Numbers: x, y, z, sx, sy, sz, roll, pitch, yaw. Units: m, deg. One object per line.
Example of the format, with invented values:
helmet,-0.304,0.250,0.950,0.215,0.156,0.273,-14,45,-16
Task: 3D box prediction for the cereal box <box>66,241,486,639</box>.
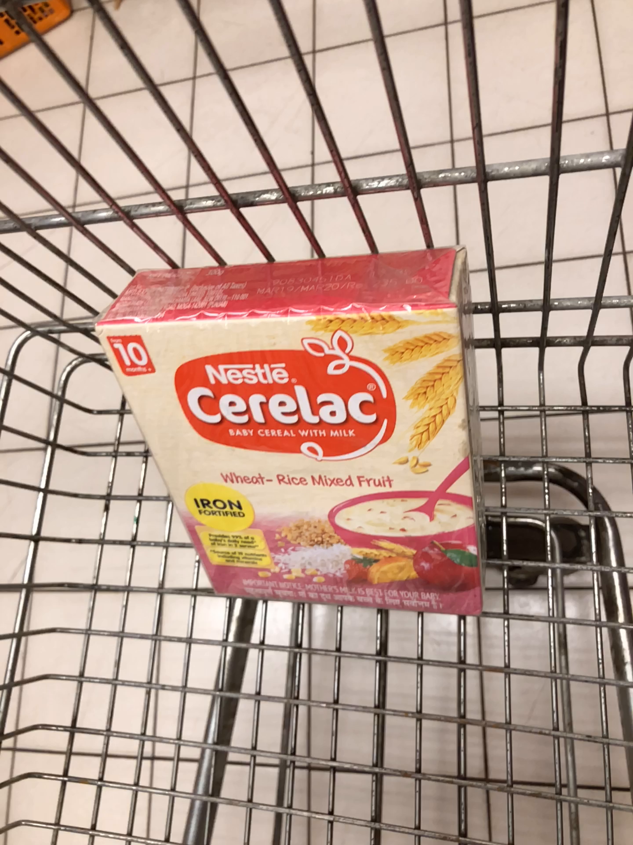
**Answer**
cereal box,-0.002,0.017,0.328,0.150,0.179,0.060,0,41,16
